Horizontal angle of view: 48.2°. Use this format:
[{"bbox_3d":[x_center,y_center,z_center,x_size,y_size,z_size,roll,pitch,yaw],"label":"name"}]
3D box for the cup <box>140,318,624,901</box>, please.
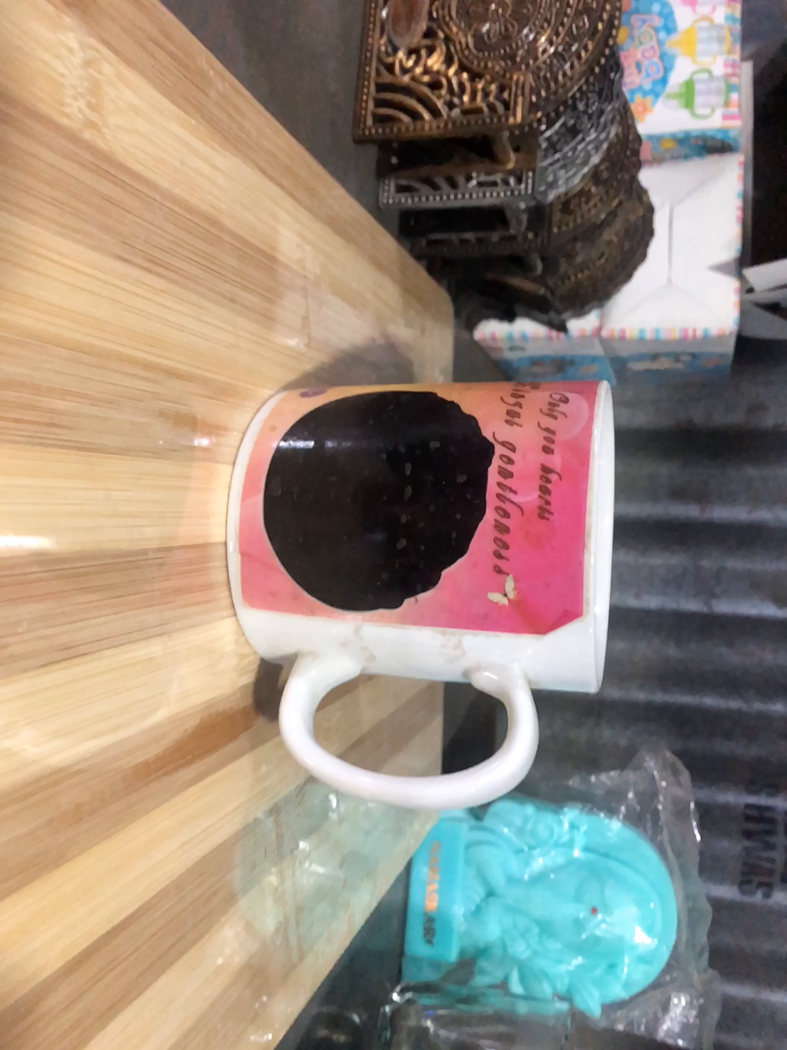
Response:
[{"bbox_3d":[0.012,0.022,0.235,0.090,0.090,0.120,69,28,-55],"label":"cup"}]
